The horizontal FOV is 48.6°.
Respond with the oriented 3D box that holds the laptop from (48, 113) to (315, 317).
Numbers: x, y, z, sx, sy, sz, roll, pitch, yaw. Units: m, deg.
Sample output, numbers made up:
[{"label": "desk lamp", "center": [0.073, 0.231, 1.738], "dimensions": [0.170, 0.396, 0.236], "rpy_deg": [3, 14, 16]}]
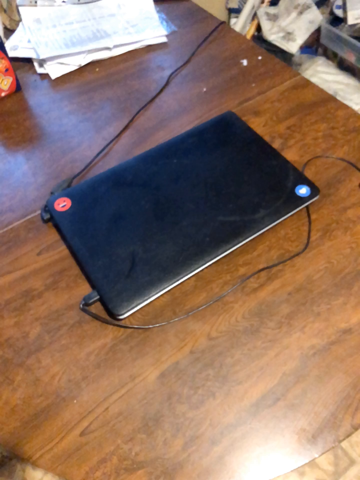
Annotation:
[{"label": "laptop", "center": [0.003, -0.068, 0.648], "dimensions": [0.366, 0.007, 0.239], "rpy_deg": [-30, 62, -18]}]
